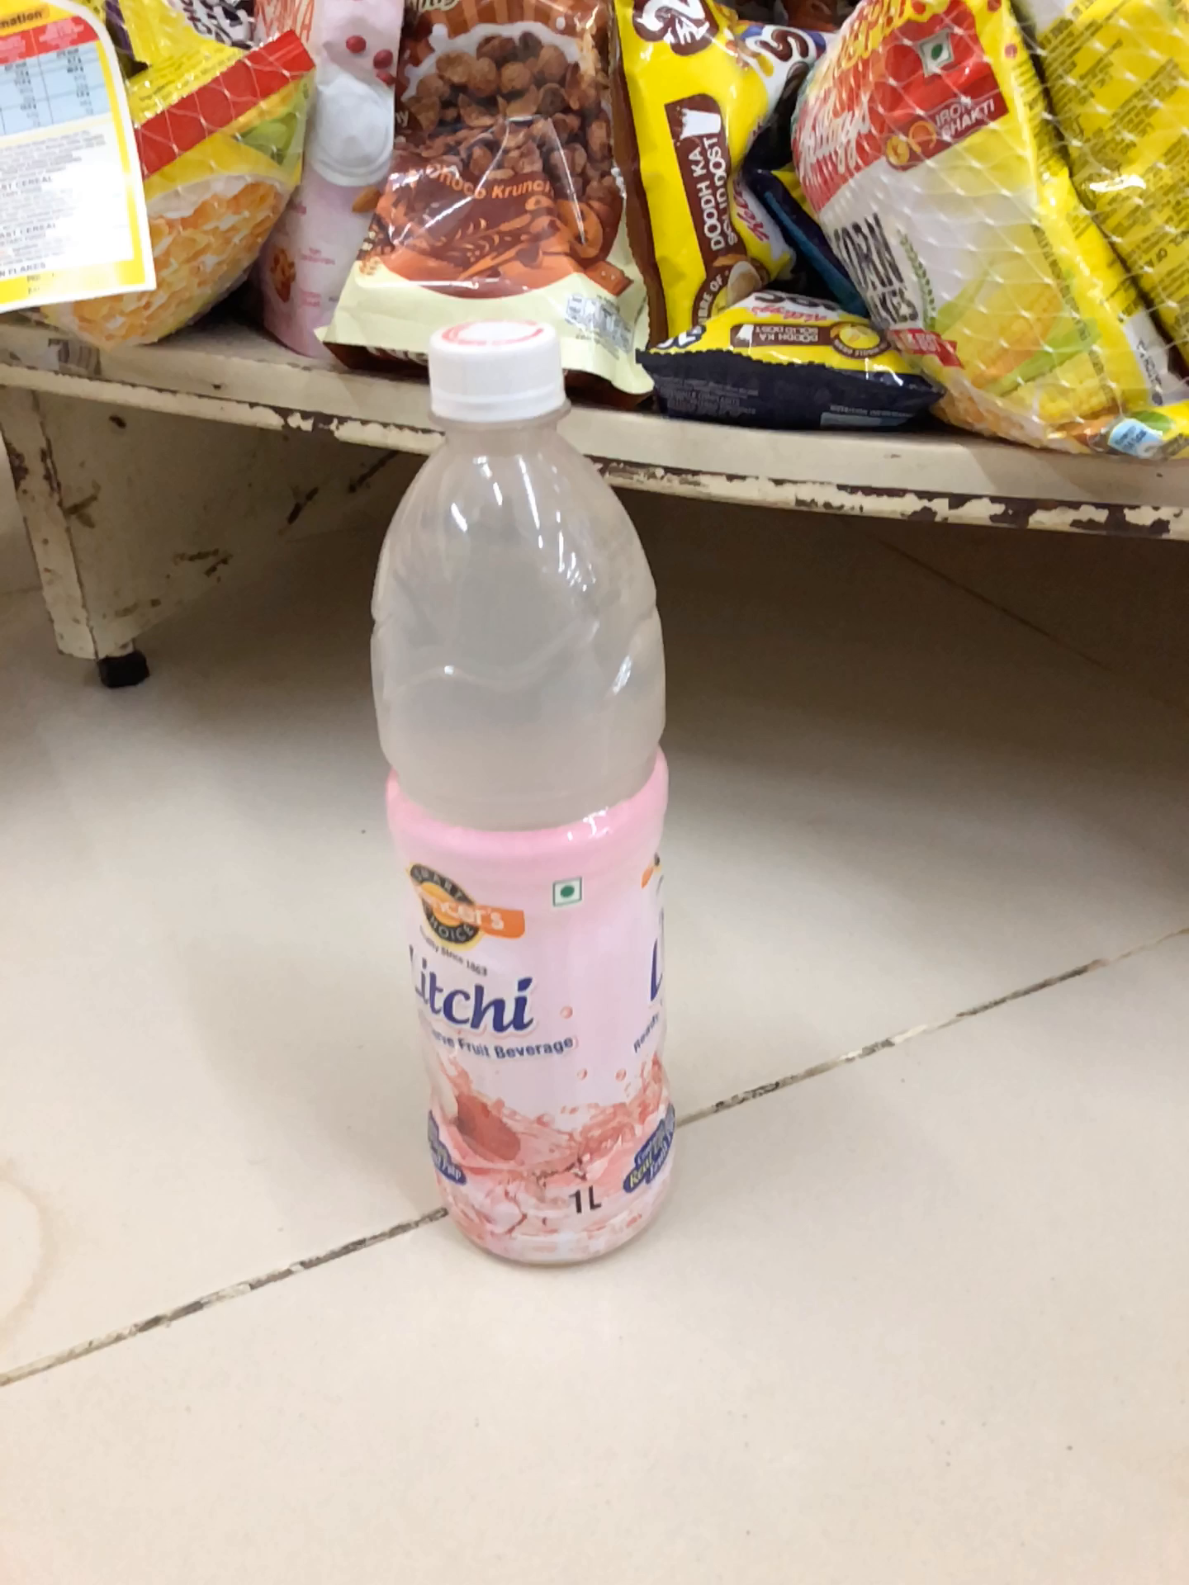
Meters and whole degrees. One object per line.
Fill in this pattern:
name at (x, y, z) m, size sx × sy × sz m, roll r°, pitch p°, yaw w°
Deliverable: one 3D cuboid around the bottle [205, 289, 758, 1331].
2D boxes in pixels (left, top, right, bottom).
bottle at (-0.018, 0.010, 0.331) m, size 0.080 × 0.238 × 0.080 m, roll -2°, pitch 31°, yaw 1°
